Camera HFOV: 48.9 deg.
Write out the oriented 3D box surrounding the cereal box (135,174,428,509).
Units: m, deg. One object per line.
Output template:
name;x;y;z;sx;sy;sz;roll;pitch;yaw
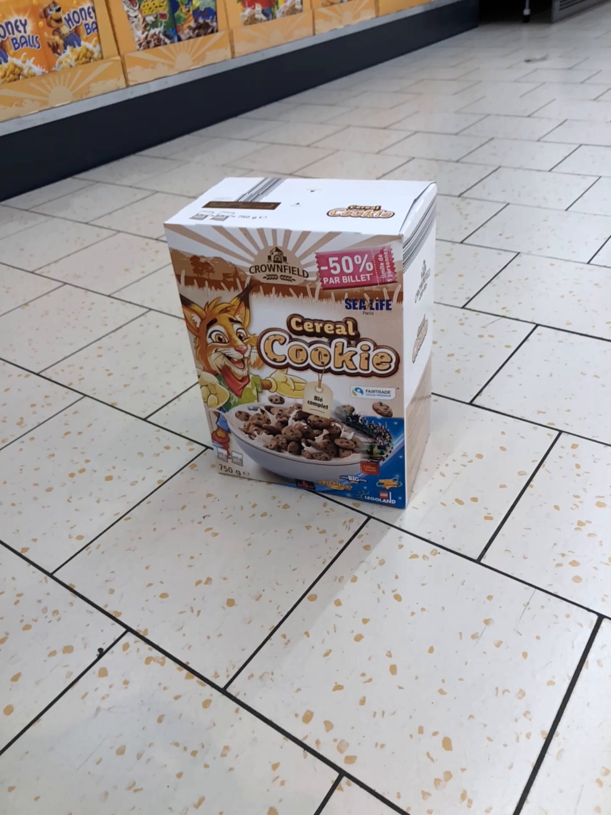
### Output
cereal box;-0.005;-0.061;0.596;0.200;0.249;0.121;8;37;20
